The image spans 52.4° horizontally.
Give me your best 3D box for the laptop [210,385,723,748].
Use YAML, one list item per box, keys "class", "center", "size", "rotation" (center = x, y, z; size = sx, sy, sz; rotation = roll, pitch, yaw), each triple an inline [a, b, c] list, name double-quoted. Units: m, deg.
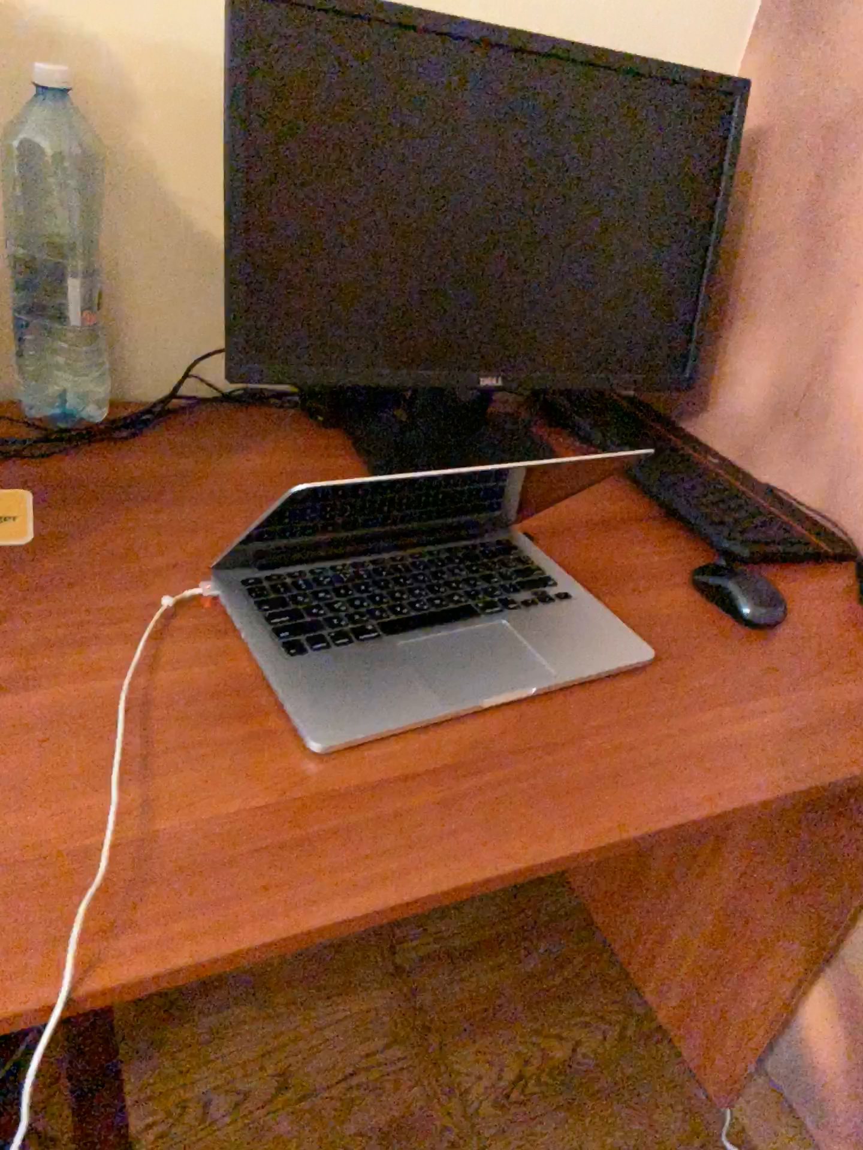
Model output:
- class: "laptop"
  center: [0.019, -0.030, 0.667]
  size: [0.307, 0.148, 0.204]
  rotation: [-9, 37, -31]
